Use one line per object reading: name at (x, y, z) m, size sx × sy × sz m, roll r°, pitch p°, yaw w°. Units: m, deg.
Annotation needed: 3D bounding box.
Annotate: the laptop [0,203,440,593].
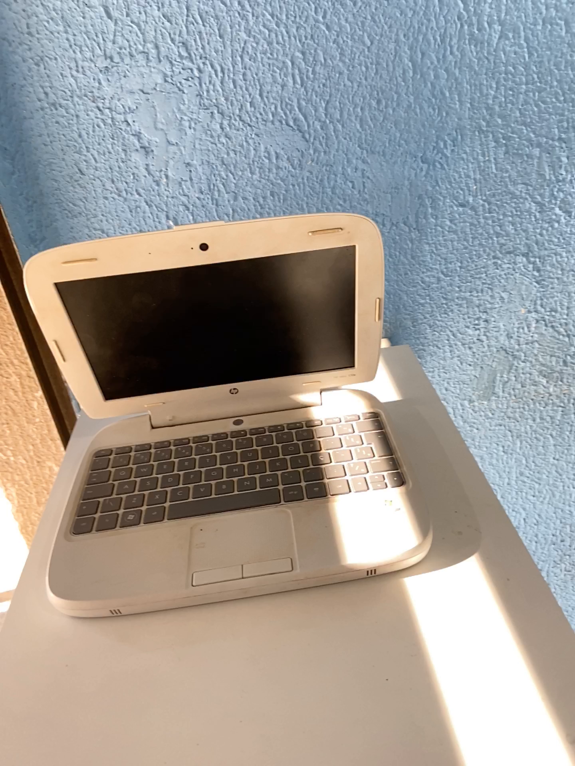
laptop at (-0.045, 0.001, 0.425) m, size 0.247 × 0.172 × 0.178 m, roll -8°, pitch 32°, yaw -1°
